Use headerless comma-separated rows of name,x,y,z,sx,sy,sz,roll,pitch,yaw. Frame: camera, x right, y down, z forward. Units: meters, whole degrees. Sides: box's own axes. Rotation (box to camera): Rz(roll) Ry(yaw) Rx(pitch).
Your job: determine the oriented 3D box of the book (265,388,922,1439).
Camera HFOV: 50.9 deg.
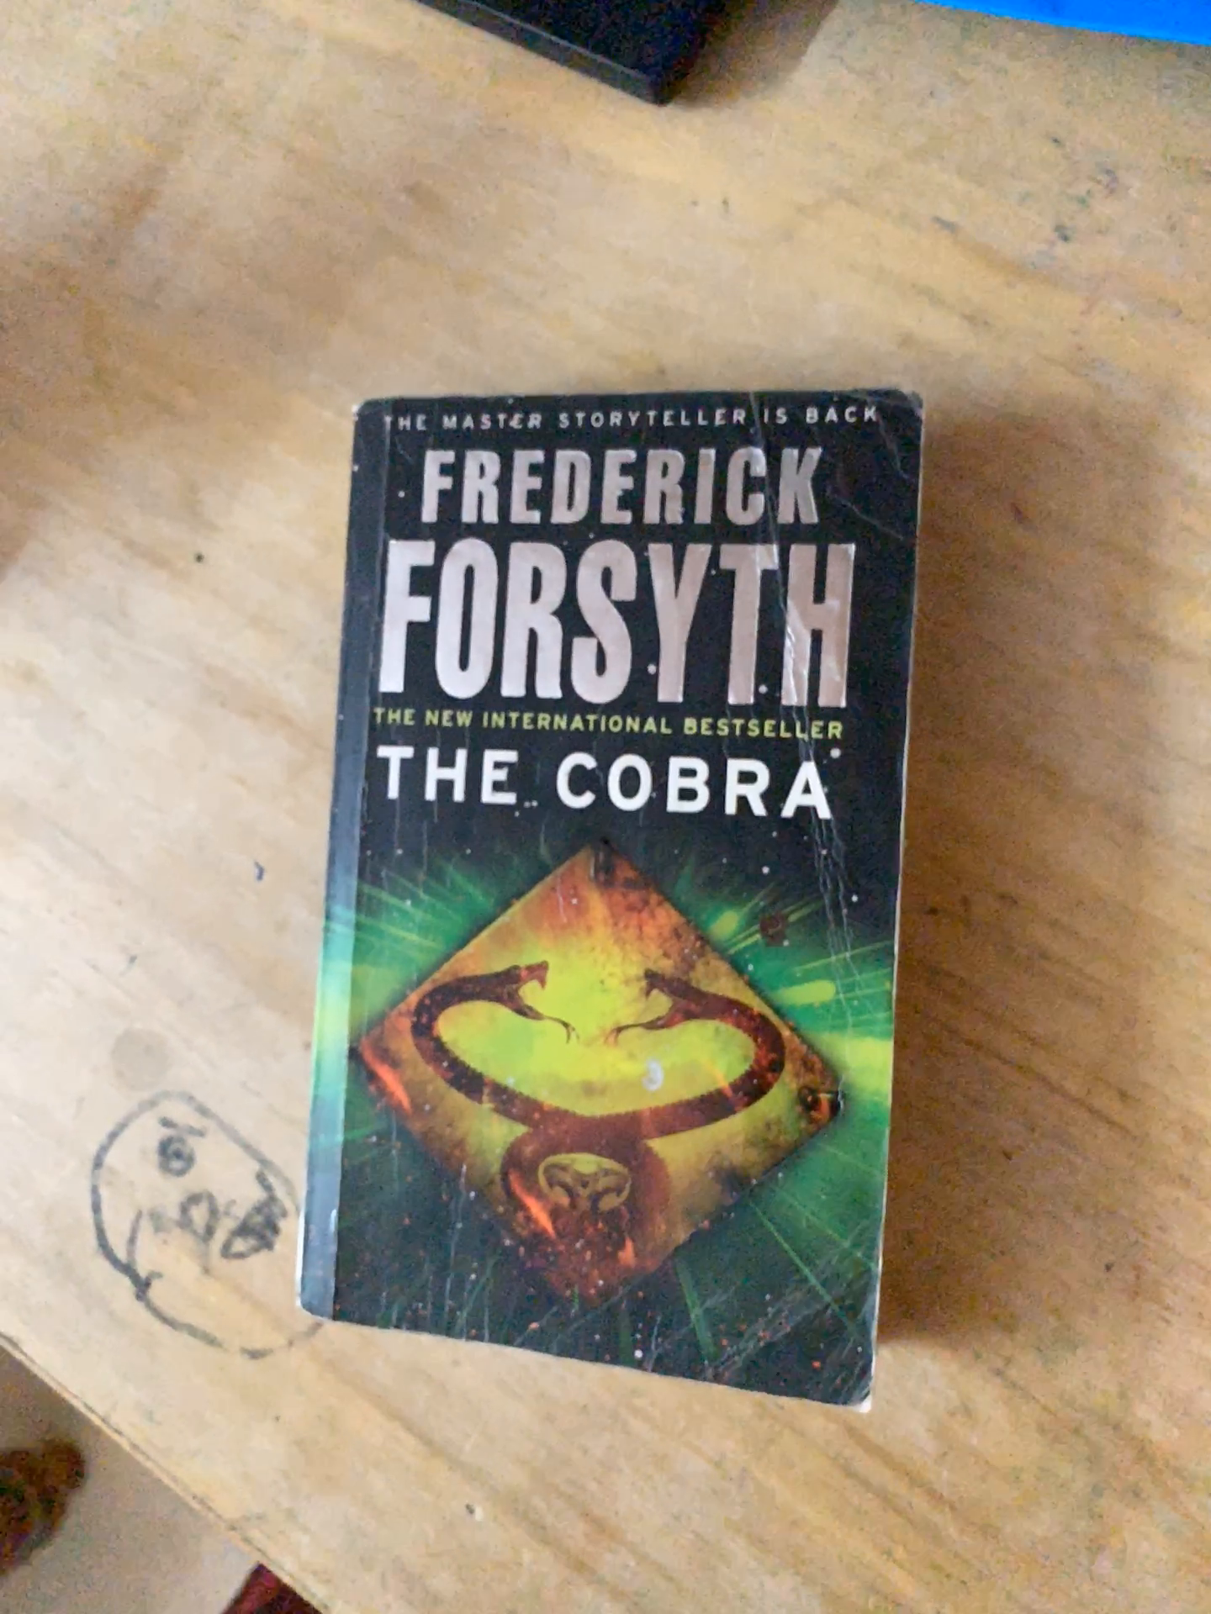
book,0.001,0.014,0.225,0.100,0.040,0.160,2,87,13
